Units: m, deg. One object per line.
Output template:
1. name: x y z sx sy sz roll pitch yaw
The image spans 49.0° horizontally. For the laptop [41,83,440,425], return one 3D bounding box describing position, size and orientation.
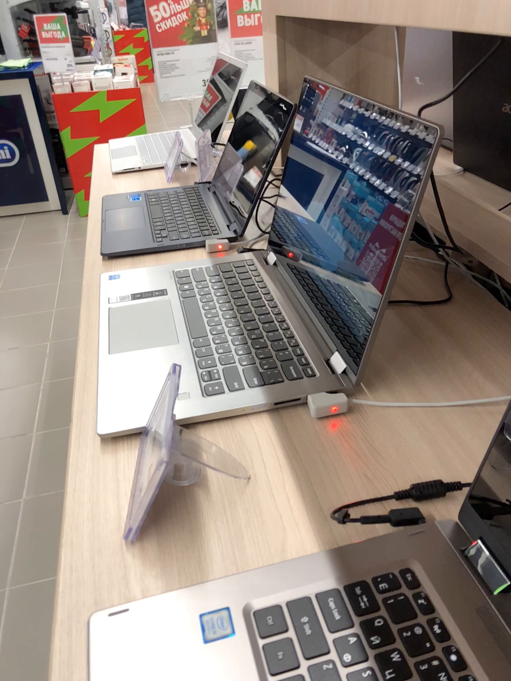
1. laptop: -0.031 -0.121 0.575 0.287 0.205 0.313 -10 31 -10
